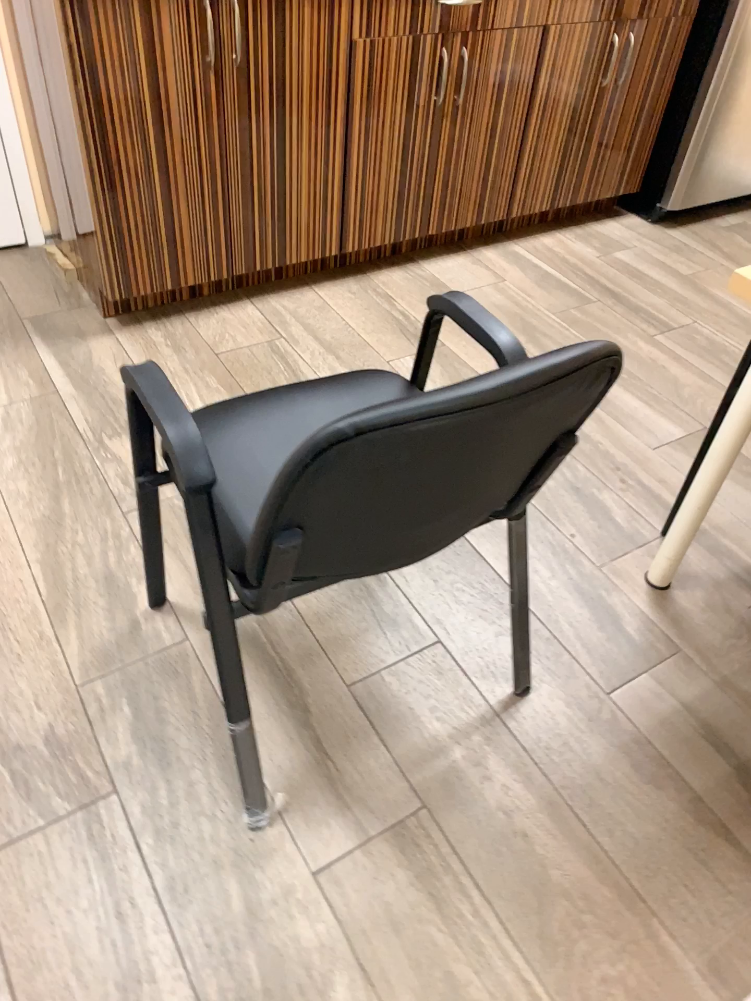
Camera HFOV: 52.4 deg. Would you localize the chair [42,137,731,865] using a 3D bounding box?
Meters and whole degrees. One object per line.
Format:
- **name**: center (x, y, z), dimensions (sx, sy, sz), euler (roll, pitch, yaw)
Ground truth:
- **chair**: center (-0.046, -0.016, 1.205), dimensions (0.607, 0.795, 0.626), euler (-20, 50, -25)
